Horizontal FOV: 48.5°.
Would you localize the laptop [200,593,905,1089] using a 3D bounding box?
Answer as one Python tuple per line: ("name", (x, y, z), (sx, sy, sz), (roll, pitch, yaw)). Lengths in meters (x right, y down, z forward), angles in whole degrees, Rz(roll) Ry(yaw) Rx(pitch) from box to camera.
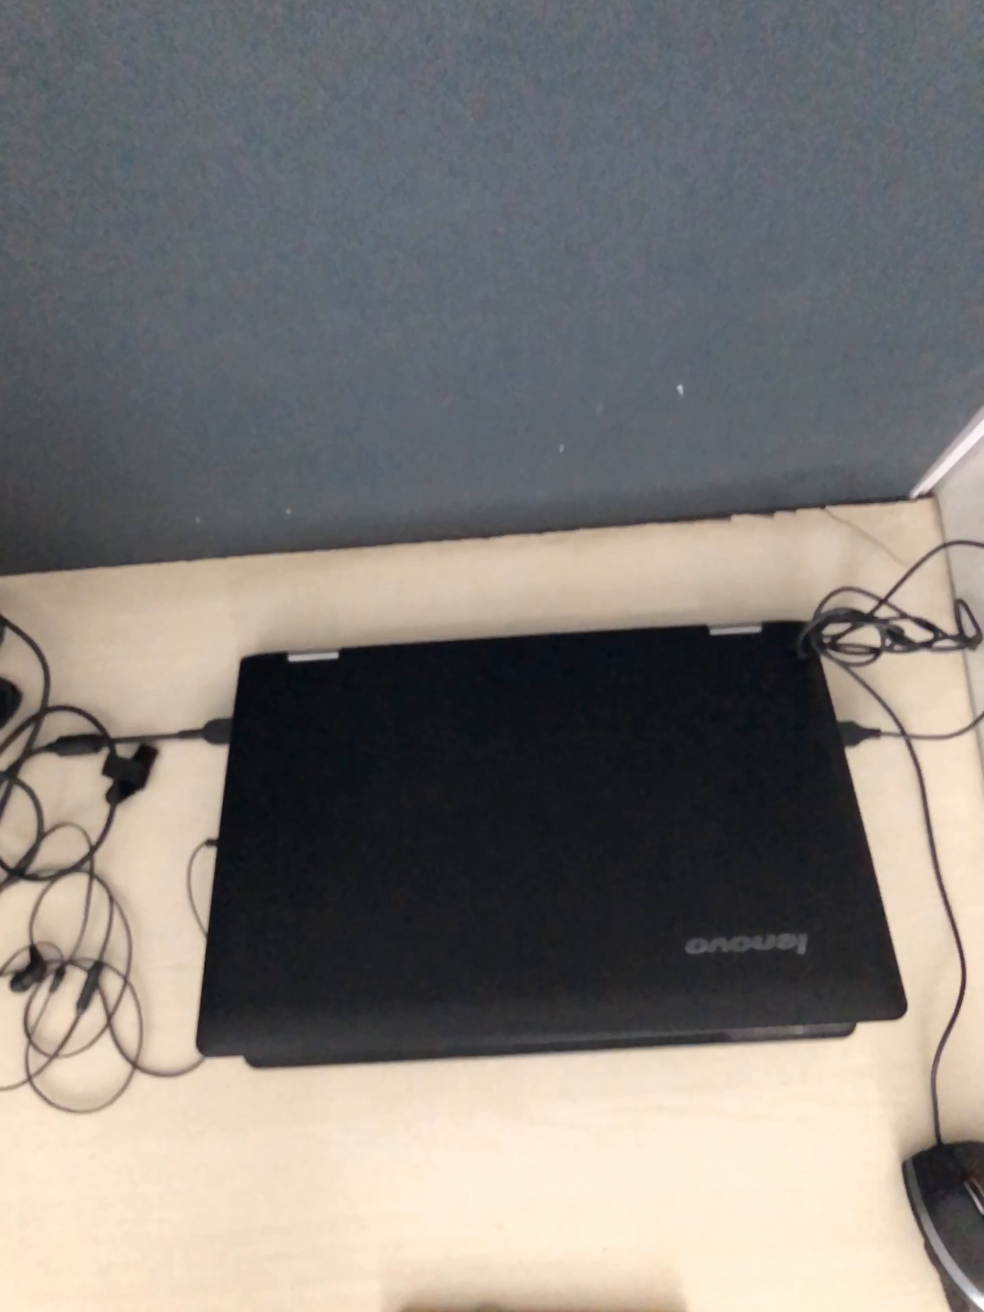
("laptop", (0.022, 0.095, 0.569), (0.326, 0.083, 0.219), (-3, 77, 2))
